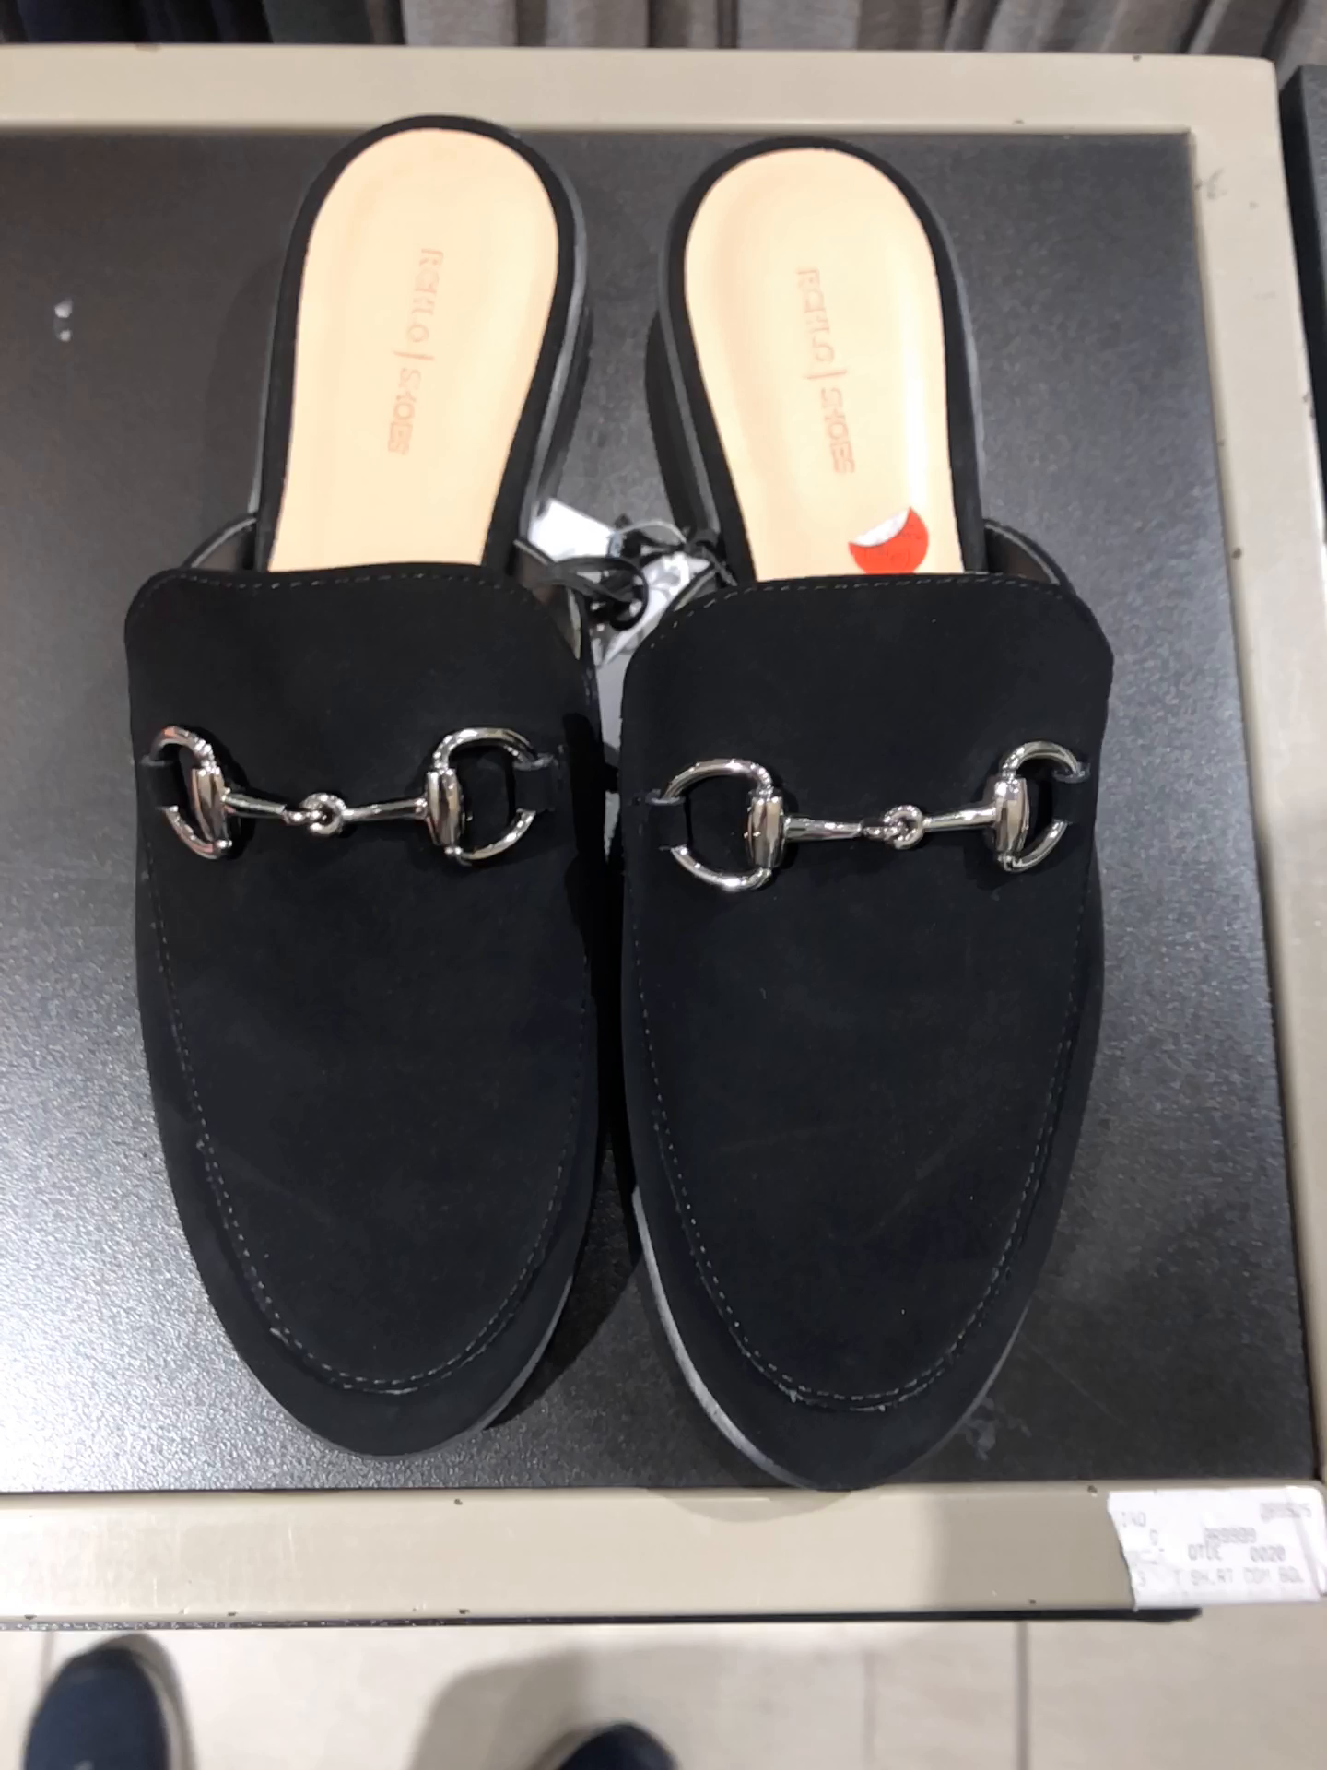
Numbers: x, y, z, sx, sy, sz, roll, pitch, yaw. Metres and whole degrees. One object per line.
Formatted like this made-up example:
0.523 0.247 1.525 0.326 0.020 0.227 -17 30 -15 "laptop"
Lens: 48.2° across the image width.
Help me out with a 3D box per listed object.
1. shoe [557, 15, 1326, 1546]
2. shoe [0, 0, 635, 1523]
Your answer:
0.034 -0.020 0.242 0.090 0.070 0.220 -3 77 -1 "shoe"
-0.050 -0.021 0.247 0.090 0.080 0.220 0 82 -1 "shoe"
